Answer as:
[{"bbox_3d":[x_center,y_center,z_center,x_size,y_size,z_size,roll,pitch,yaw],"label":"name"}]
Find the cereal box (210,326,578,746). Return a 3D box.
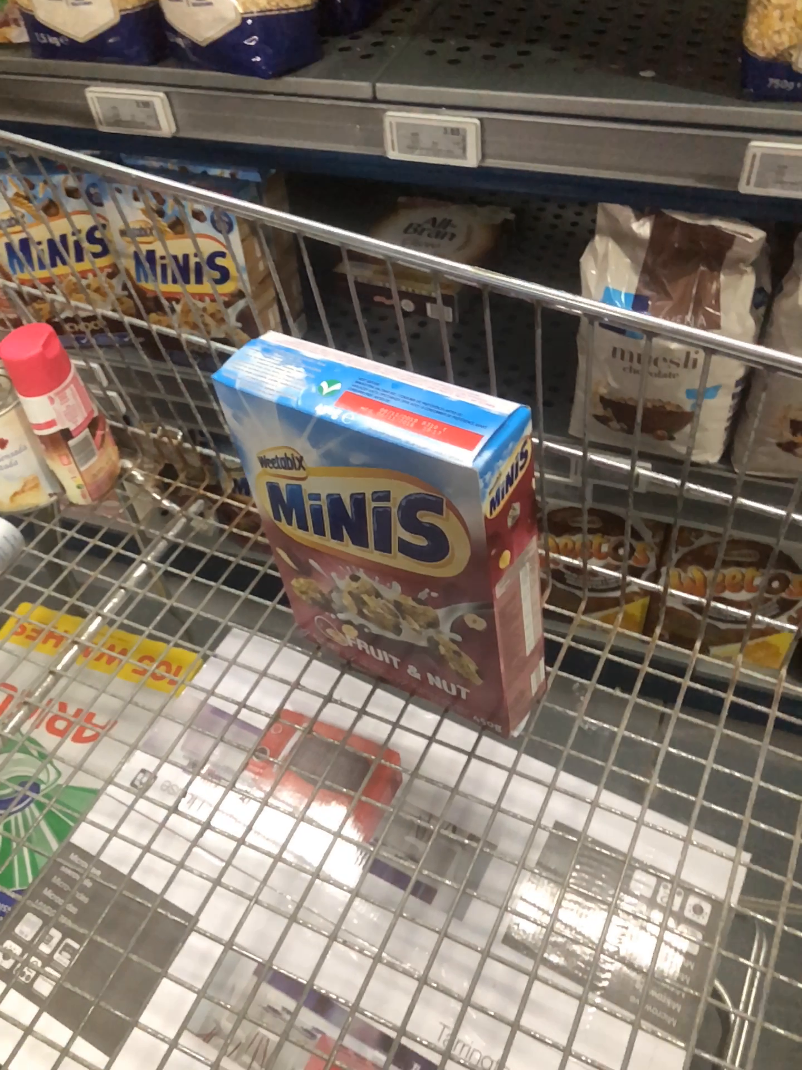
[{"bbox_3d":[0.007,0.005,0.636,0.220,0.259,0.080,21,53,28],"label":"cereal box"}]
